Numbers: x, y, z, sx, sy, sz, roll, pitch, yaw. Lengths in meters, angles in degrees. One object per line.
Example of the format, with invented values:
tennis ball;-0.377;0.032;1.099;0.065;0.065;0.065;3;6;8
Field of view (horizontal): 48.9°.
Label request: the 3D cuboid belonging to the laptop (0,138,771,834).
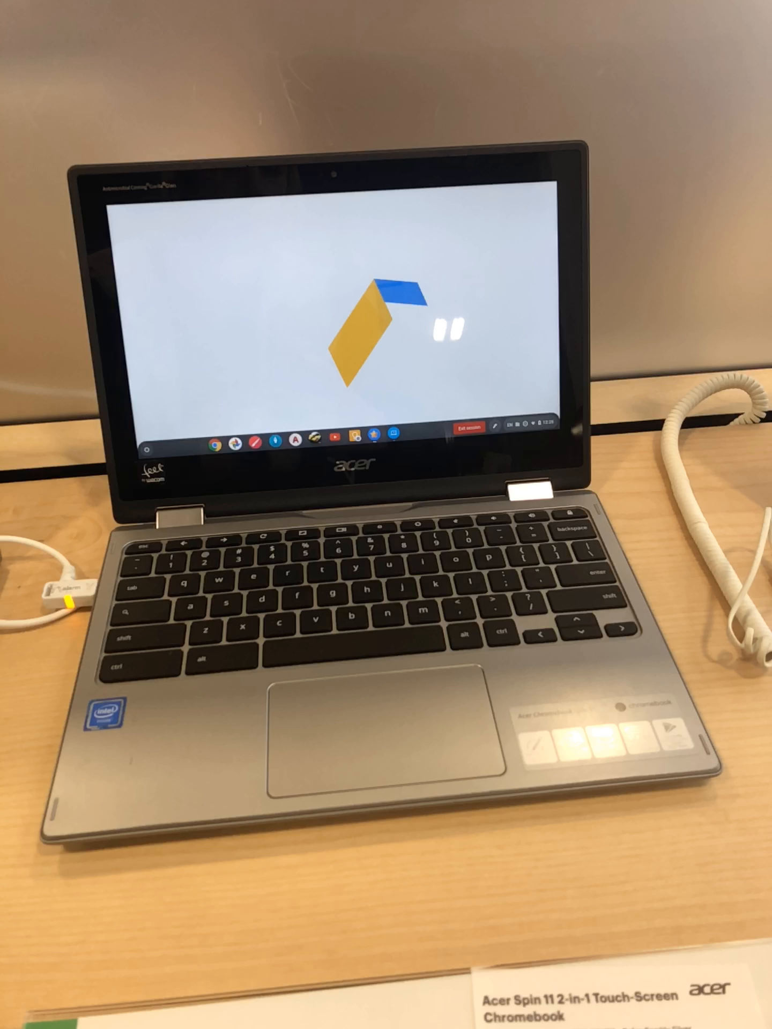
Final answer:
laptop;-0.014;-0.041;0.421;0.287;0.176;0.296;-5;40;-4
